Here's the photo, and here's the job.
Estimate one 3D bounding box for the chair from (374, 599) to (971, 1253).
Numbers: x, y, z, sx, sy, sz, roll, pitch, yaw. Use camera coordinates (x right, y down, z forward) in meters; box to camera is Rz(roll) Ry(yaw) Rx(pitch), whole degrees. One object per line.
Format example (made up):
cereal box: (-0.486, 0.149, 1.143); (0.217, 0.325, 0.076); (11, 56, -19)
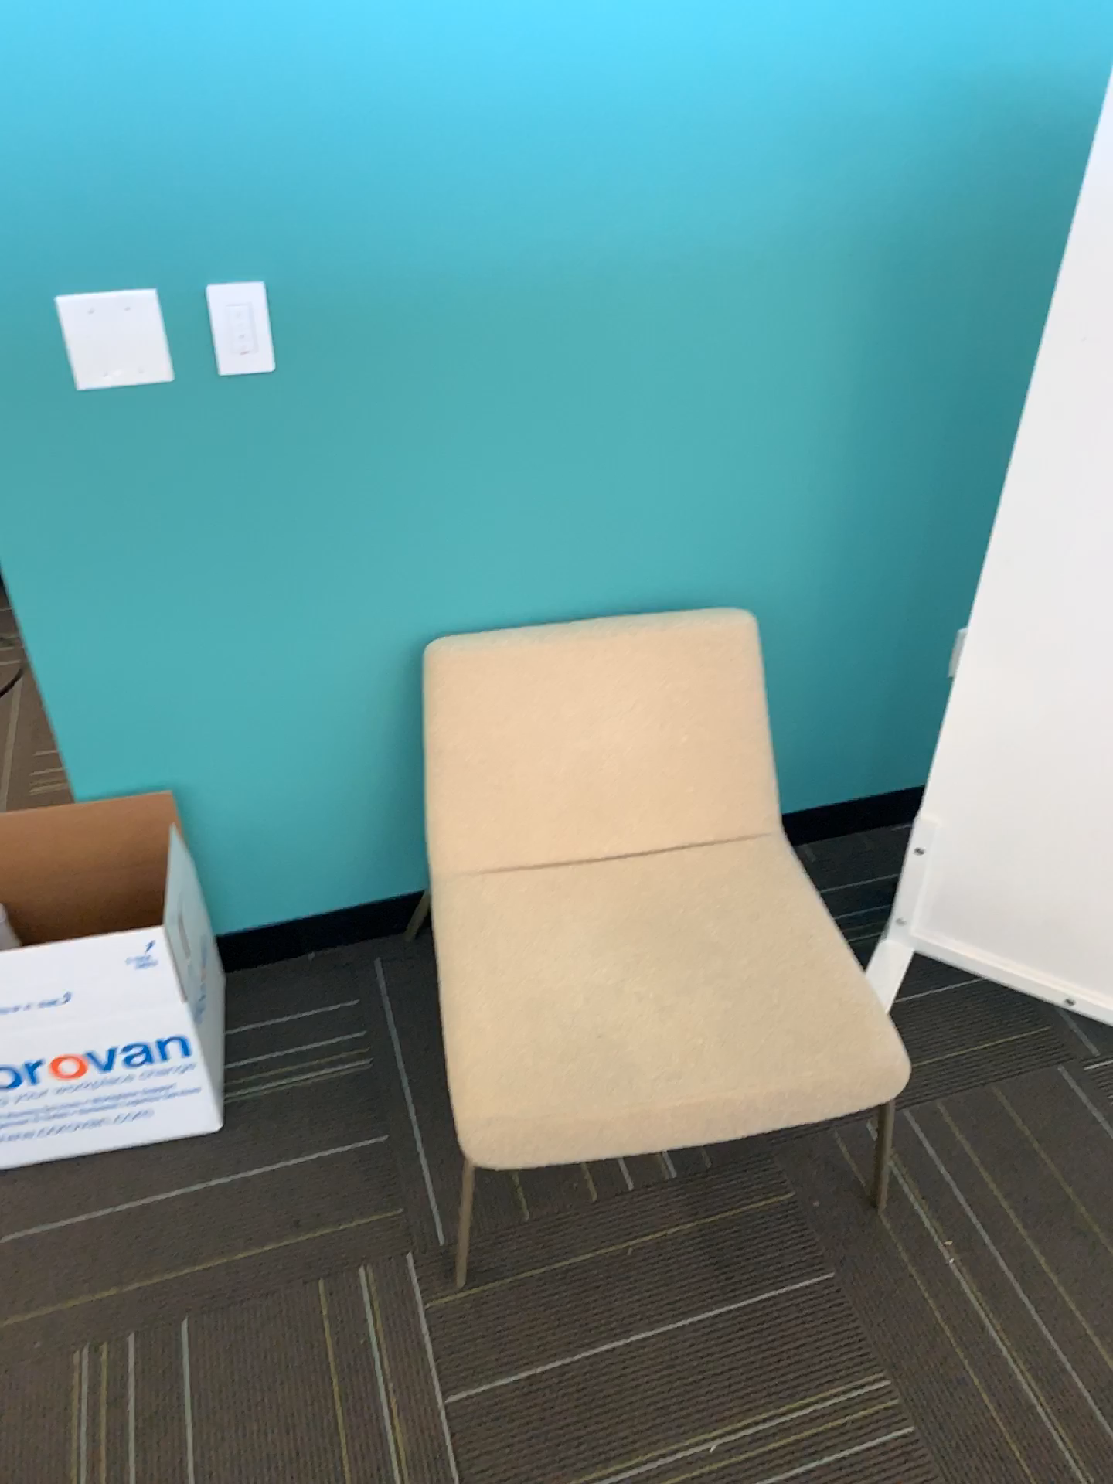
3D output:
chair: (0.103, 0.238, 1.785); (0.660, 0.567, 0.734); (-7, 37, -10)
